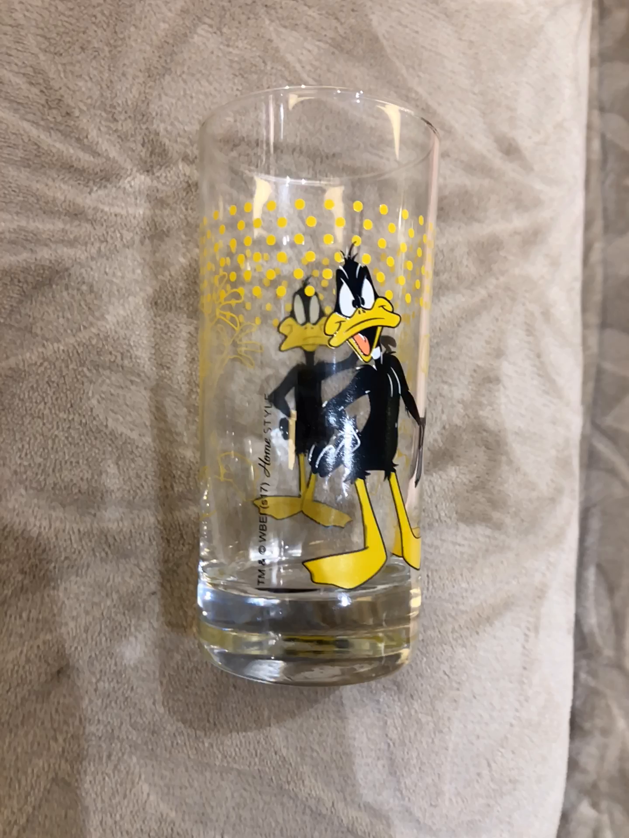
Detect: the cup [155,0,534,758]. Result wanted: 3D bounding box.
[{"bbox_3d":[0.001,-0.011,0.187,0.070,0.070,0.160,0,83,-22],"label":"cup"}]
